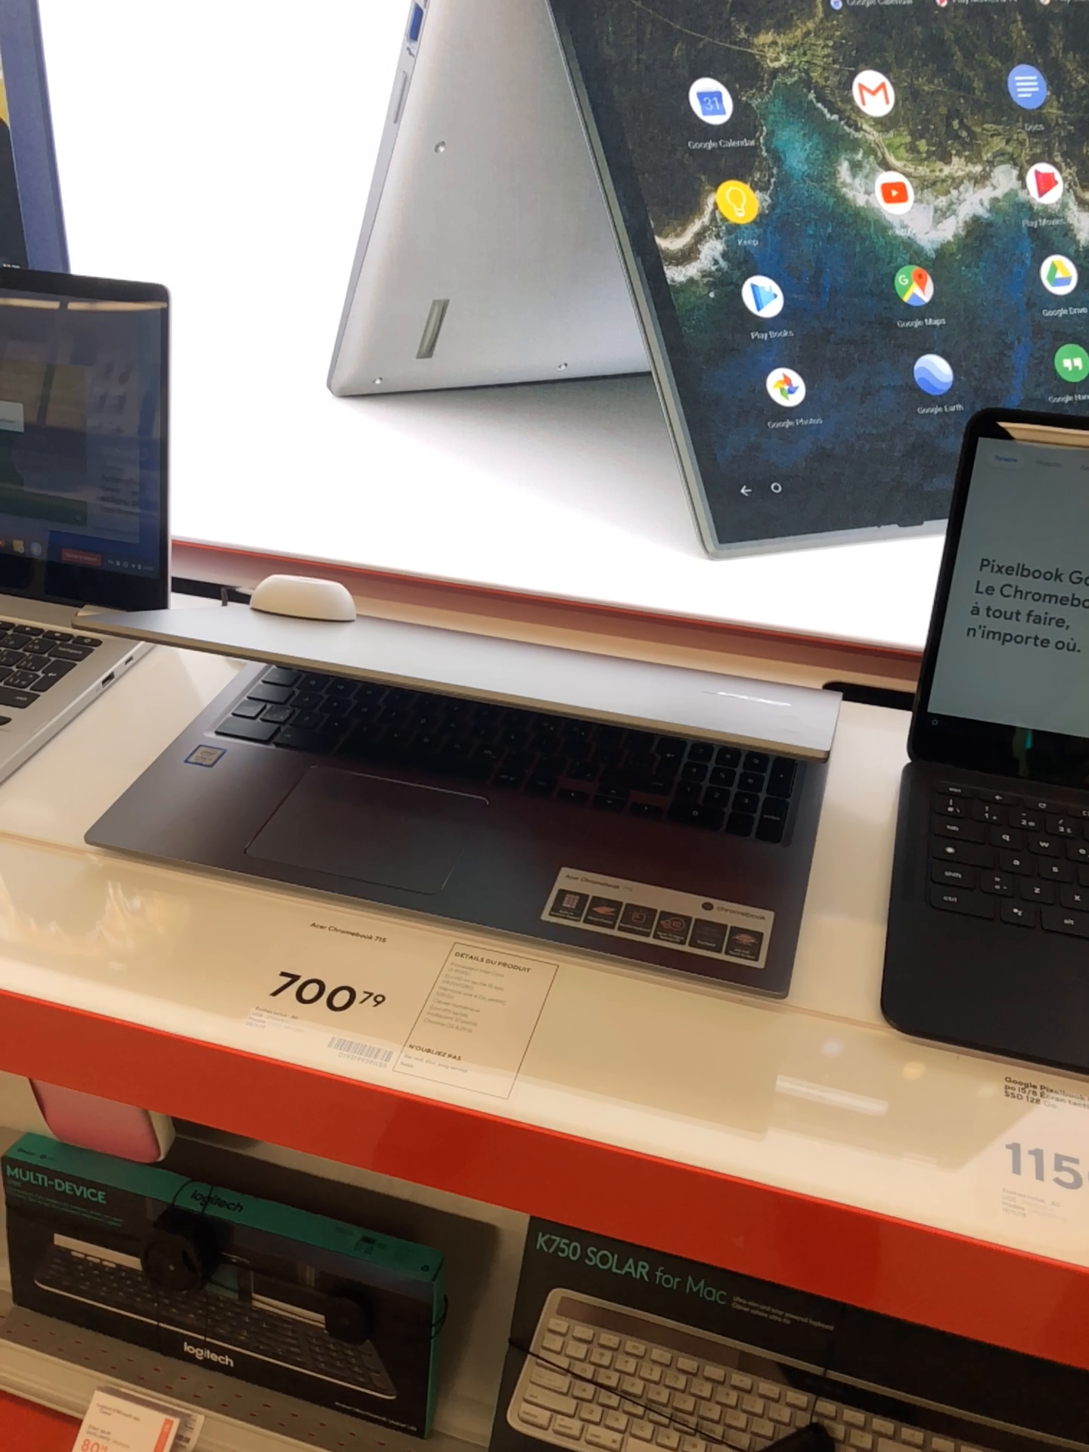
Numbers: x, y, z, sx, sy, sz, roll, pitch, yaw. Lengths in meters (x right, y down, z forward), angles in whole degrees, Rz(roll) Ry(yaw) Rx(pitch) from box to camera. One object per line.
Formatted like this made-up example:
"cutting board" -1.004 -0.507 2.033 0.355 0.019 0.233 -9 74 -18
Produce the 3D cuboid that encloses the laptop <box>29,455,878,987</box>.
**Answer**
"laptop" -0.026 -0.025 0.647 0.368 0.109 0.244 10 36 12
